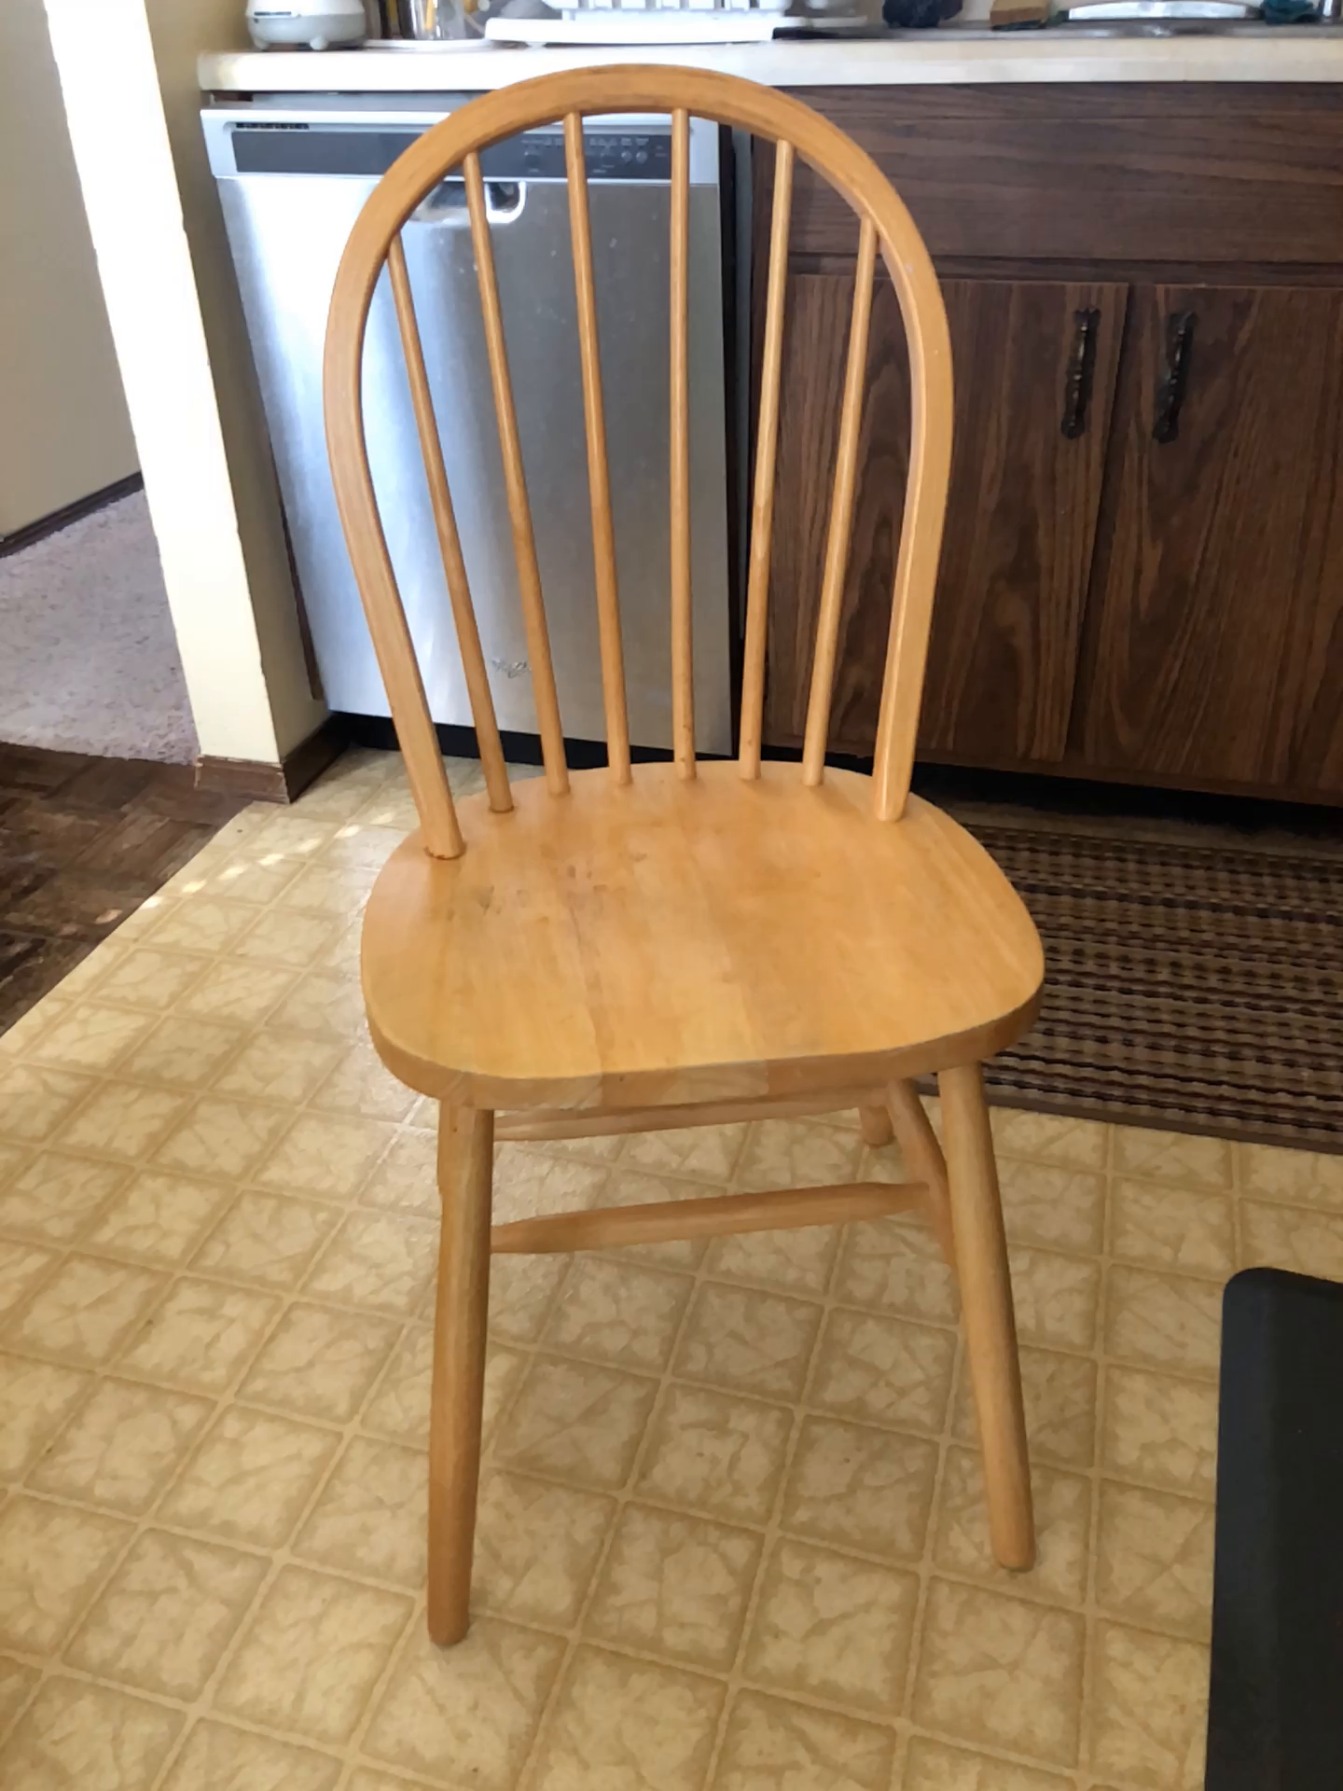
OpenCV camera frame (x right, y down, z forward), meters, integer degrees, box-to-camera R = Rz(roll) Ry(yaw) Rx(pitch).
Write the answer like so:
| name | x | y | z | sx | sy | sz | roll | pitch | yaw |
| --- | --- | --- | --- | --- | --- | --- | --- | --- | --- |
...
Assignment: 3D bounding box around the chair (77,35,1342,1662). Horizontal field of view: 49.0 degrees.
| name | x | y | z | sx | sy | sz | roll | pitch | yaw |
| --- | --- | --- | --- | --- | --- | --- | --- | --- | --- |
| chair | 0.000 | -0.049 | 0.991 | 0.460 | 0.898 | 0.562 | -5 | 31 | -6 |
